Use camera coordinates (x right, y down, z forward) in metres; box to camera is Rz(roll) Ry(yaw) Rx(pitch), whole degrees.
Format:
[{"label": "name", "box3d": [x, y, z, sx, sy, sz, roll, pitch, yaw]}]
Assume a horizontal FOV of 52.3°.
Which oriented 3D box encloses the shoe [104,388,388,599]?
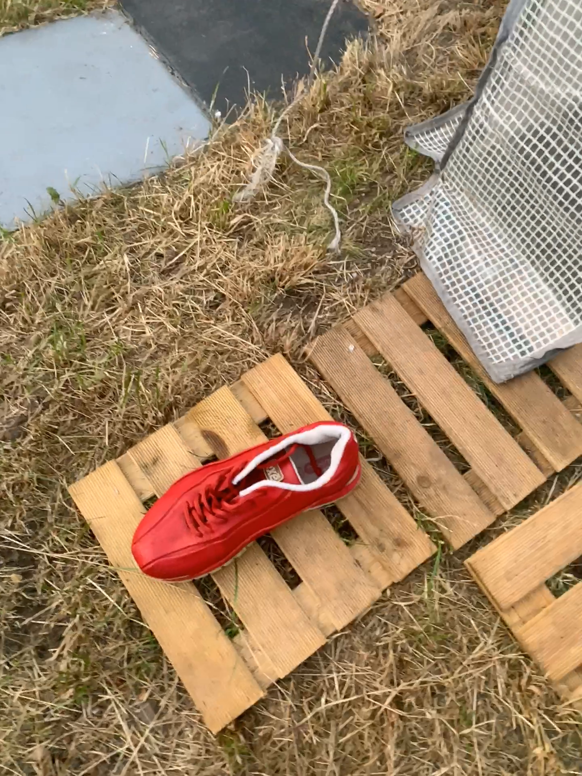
[{"label": "shoe", "box3d": [-0.042, 0.114, 0.626, 0.260, 0.100, 0.100, -25, 69, -7]}]
